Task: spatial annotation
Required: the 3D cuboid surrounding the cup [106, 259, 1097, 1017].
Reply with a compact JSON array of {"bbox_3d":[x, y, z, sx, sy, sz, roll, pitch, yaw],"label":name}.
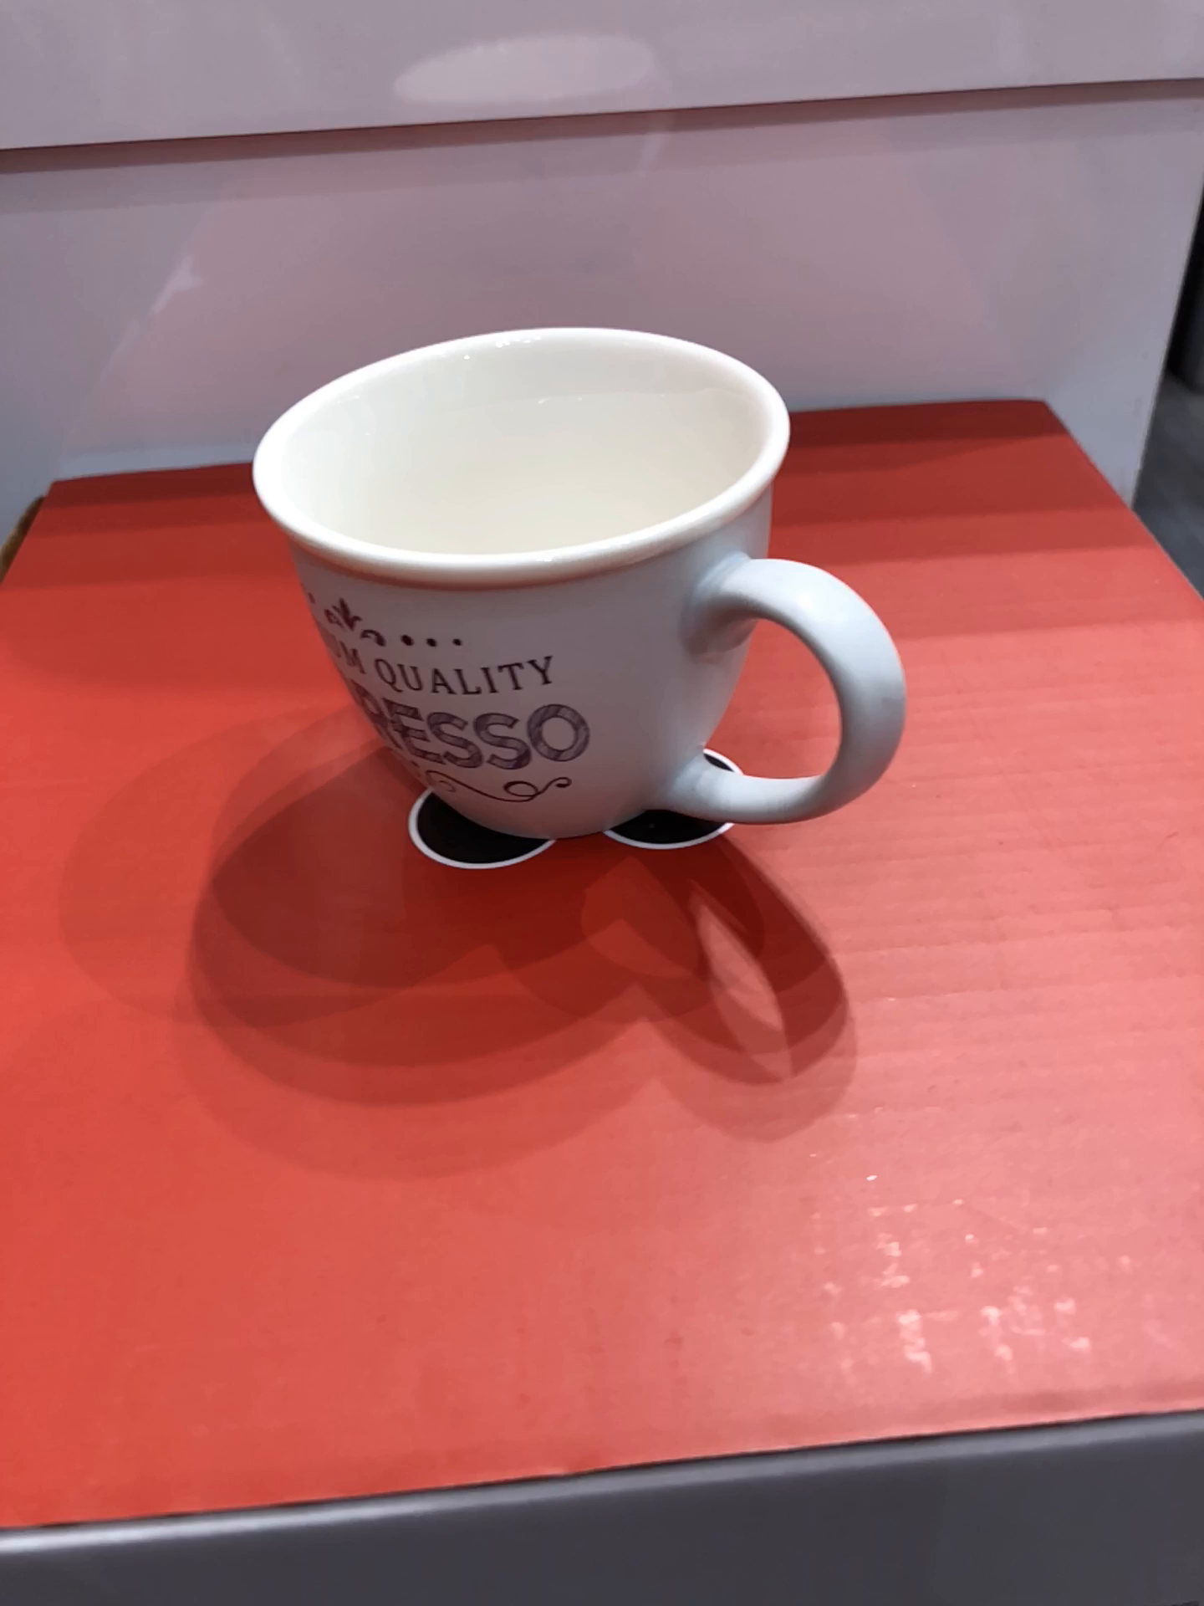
[{"bbox_3d":[-0.001,-0.031,0.177,0.080,0.040,0.090,-33,48,-32],"label":"cup"}]
